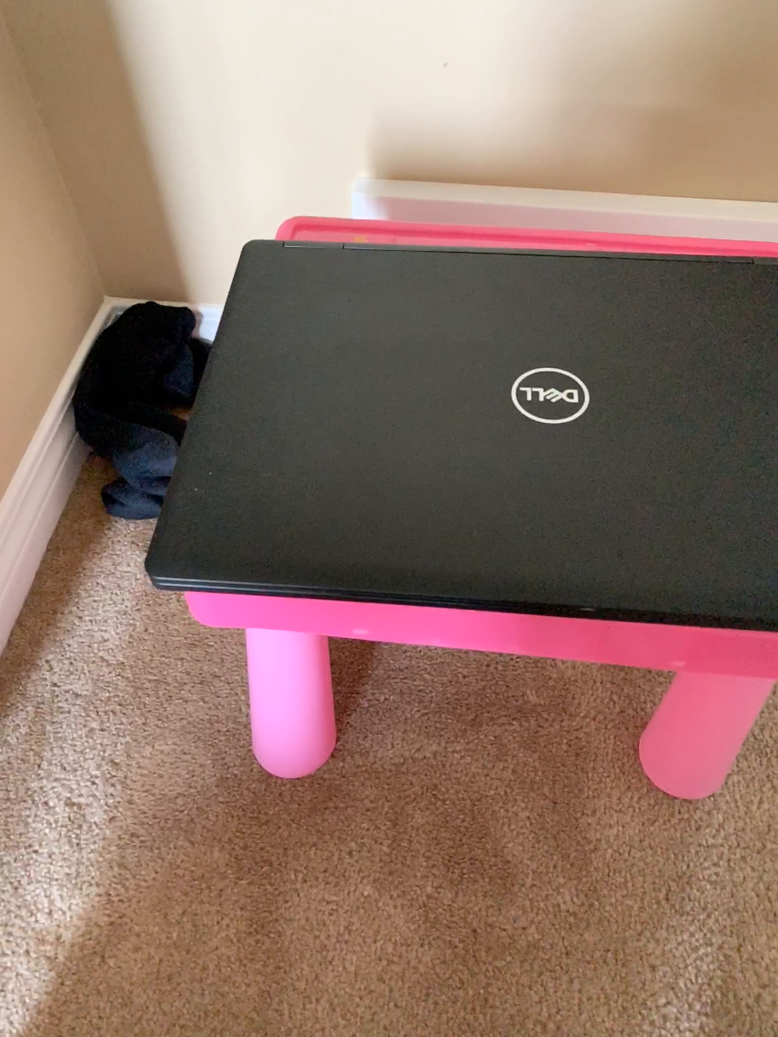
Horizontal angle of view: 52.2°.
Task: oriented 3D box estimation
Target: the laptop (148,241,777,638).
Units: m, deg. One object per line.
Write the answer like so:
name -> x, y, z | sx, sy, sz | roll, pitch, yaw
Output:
laptop -> 0.084, -0.061, 0.414 | 0.366, 0.005, 0.241 | 3, 55, 4
